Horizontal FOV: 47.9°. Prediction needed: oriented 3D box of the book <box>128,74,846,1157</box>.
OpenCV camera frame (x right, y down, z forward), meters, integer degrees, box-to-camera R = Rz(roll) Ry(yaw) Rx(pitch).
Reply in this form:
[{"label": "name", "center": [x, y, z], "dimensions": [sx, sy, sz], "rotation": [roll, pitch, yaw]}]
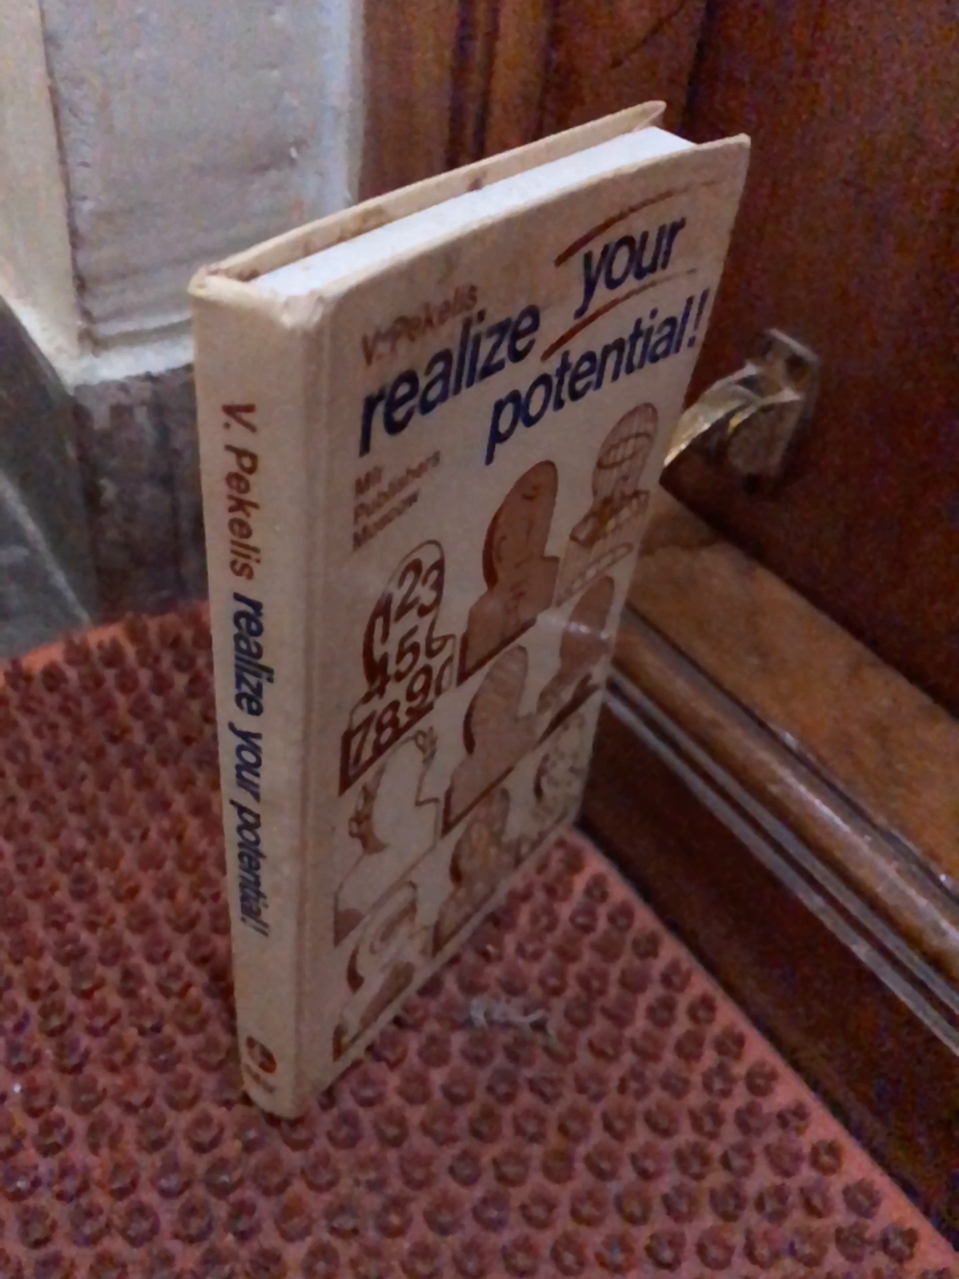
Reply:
[{"label": "book", "center": [0.005, 0.001, 0.242], "dimensions": [0.030, 0.209, 0.151], "rotation": [30, 45, 26]}]
